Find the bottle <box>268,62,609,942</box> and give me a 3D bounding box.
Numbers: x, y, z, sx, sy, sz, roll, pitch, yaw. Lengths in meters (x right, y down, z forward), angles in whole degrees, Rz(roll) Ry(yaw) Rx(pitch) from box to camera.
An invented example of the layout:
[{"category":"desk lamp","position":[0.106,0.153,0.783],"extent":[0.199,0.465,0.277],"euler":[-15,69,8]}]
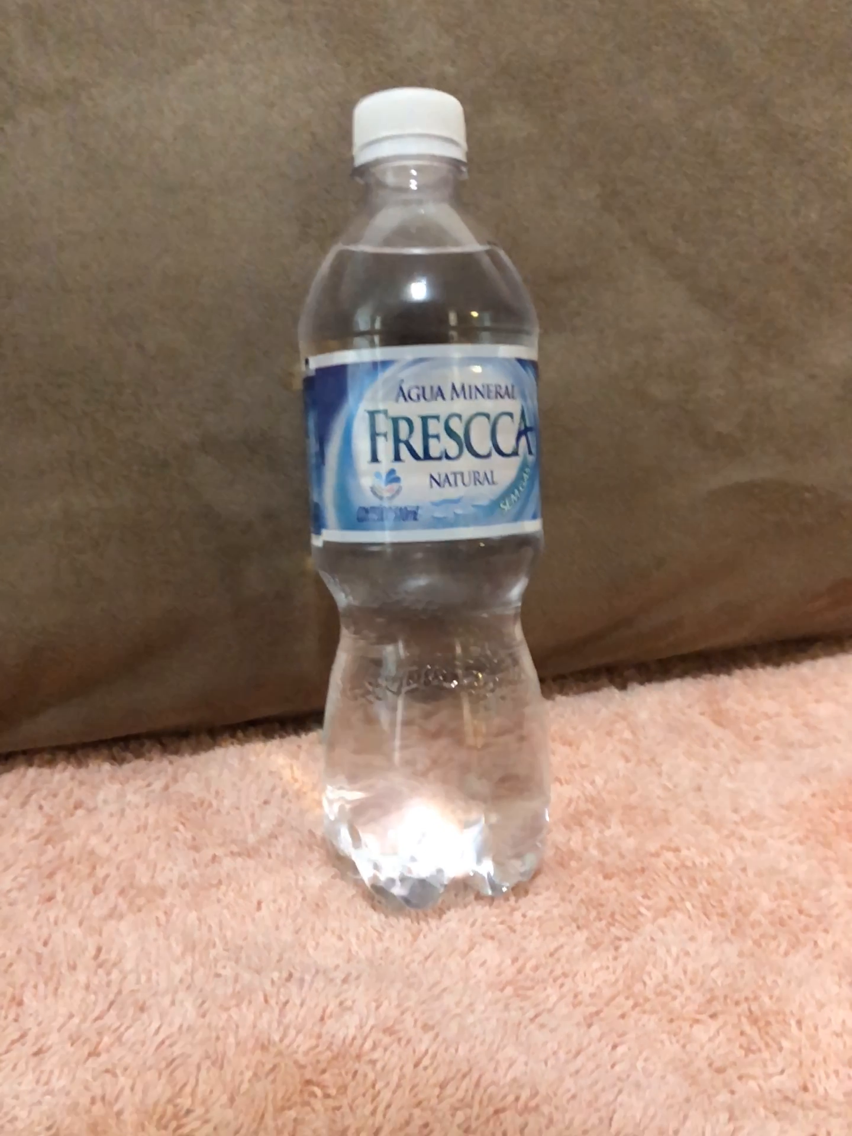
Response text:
[{"category":"bottle","position":[0.000,-0.018,0.272],"extent":[0.070,0.210,0.080],"euler":[-5,8,-12]}]
